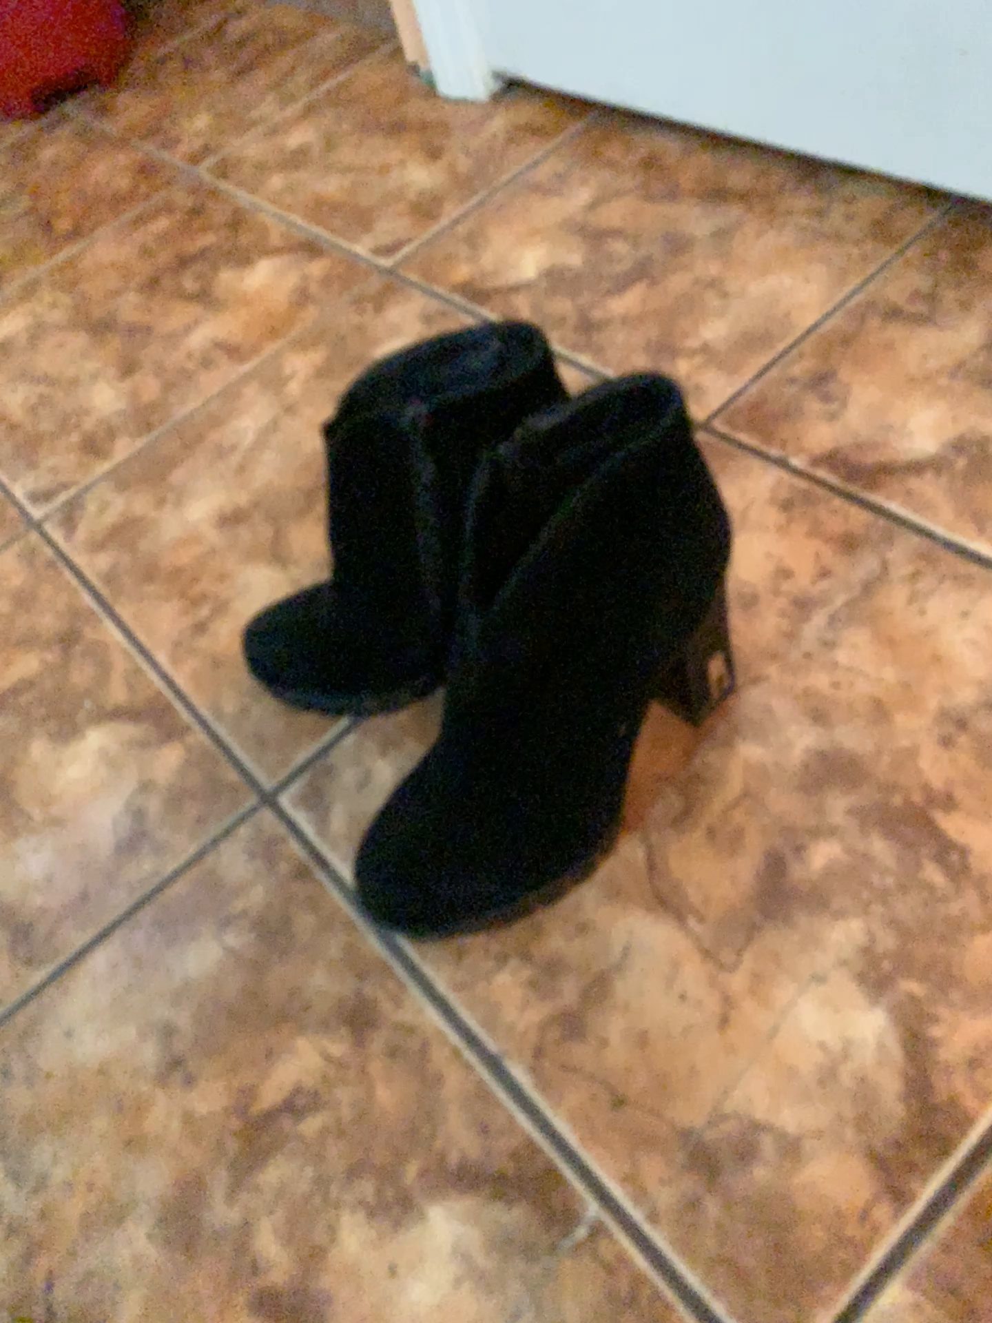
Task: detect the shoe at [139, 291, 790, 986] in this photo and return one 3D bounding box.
[{"bbox_3d":[0.008,-0.005,0.427,0.229,0.180,0.094,-39,52,-13],"label":"shoe"}]

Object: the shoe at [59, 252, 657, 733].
[{"bbox_3d":[-0.051,-0.069,0.495,0.229,0.180,0.094,-9,51,10],"label":"shoe"}]
